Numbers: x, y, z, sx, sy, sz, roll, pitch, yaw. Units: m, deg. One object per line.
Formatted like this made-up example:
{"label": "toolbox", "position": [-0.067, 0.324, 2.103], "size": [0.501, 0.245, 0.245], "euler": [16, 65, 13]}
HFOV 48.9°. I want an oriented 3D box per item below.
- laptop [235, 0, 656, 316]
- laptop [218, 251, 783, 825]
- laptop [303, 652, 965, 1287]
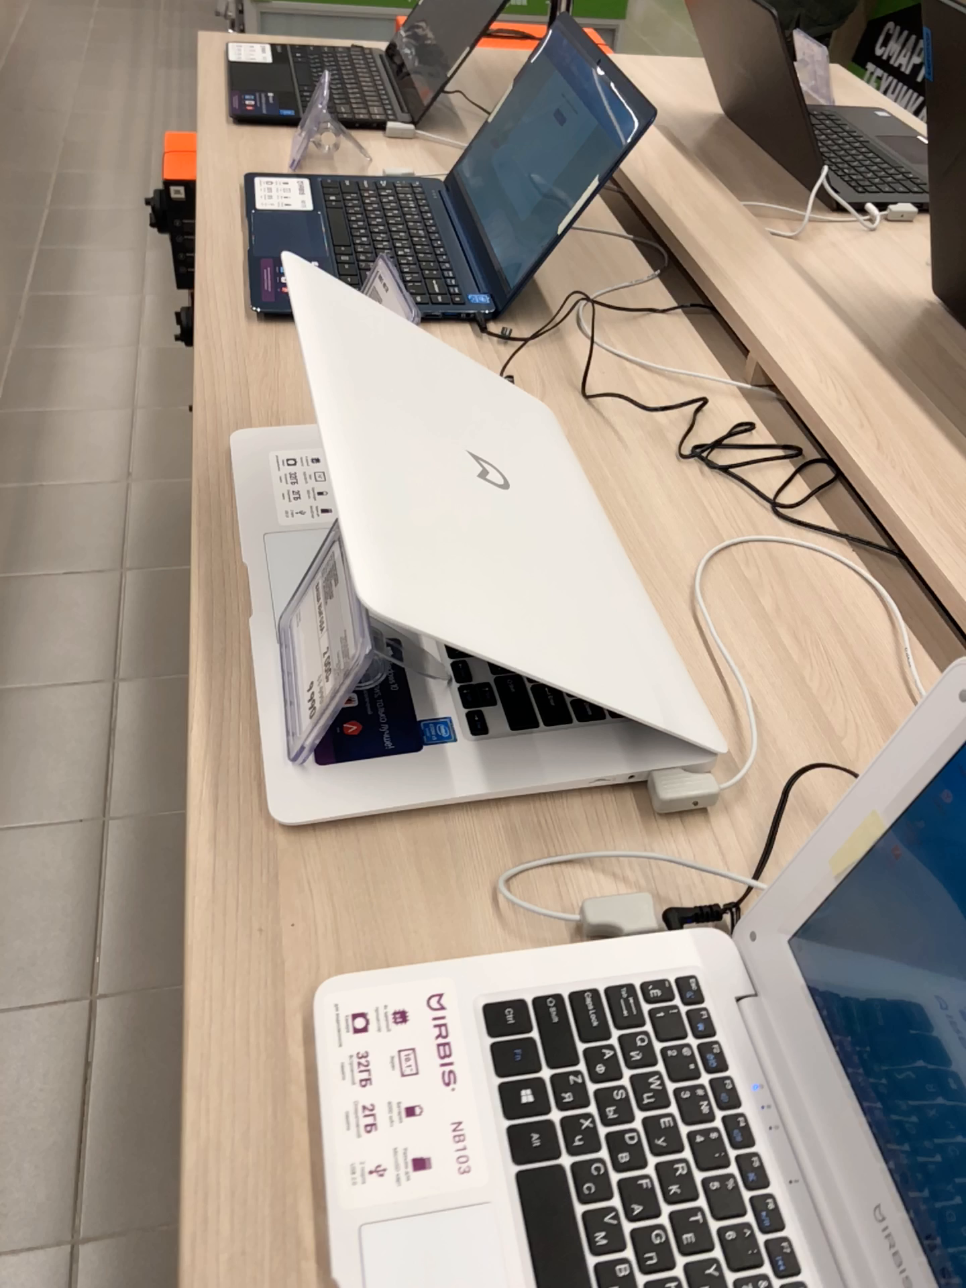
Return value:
{"label": "laptop", "position": [-0.054, -0.449, 0.965], "size": [0.318, 0.162, 0.311], "euler": [-4, 43, -12]}
{"label": "laptop", "position": [-0.024, -0.089, 0.597], "size": [0.223, 0.115, 0.351], "euler": [-7, 43, -11]}
{"label": "laptop", "position": [0.074, 0.155, 0.298], "size": [0.230, 0.168, 0.264], "euler": [-3, 41, -9]}
